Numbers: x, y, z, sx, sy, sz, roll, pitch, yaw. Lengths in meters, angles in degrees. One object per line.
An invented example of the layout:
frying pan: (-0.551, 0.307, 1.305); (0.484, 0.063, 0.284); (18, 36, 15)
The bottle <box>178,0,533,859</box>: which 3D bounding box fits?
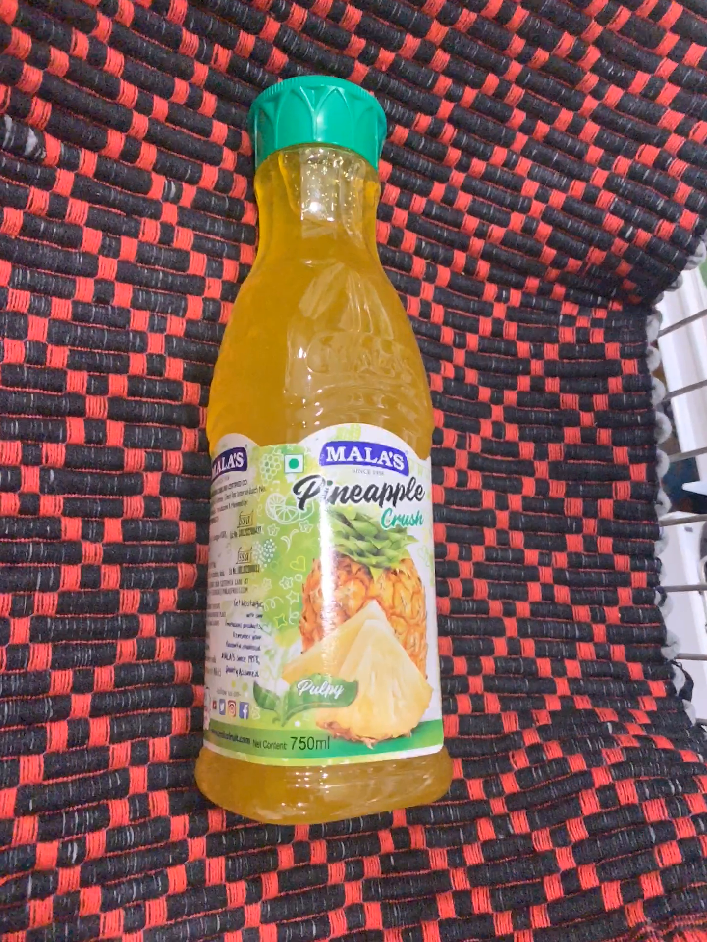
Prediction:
bottle: (-0.004, -0.015, 0.240); (0.080, 0.070, 0.230); (6, 76, -32)
